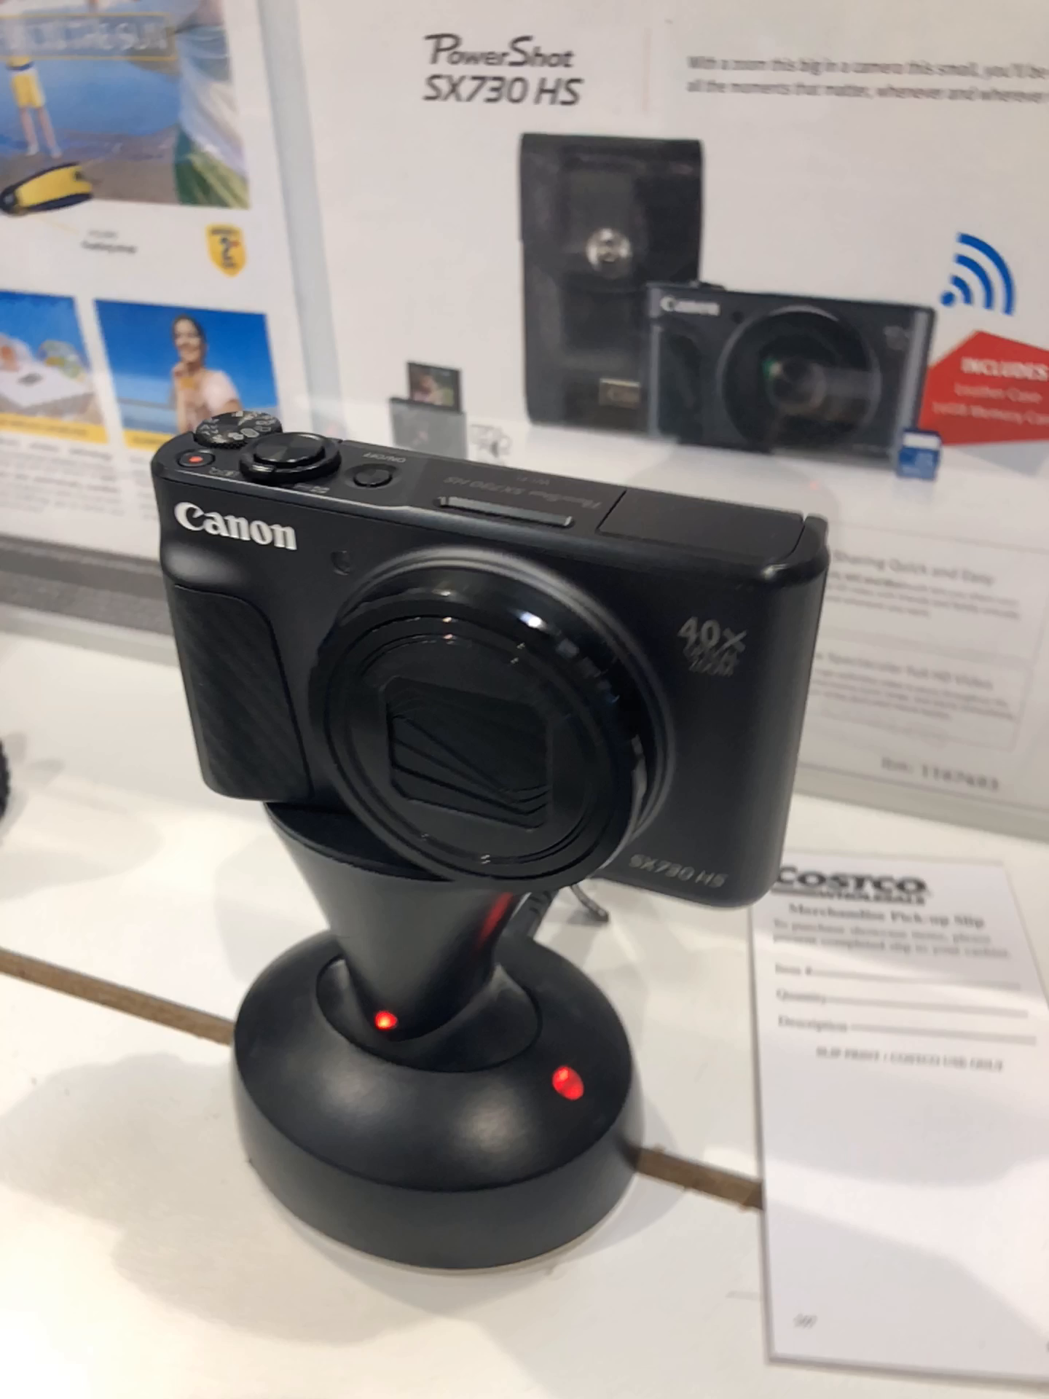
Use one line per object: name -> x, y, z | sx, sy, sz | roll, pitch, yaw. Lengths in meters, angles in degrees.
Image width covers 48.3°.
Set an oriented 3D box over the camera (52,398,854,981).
camera -> -0.011, -0.006, 0.186 | 0.110, 0.060, 0.040 | 13, 36, 20
